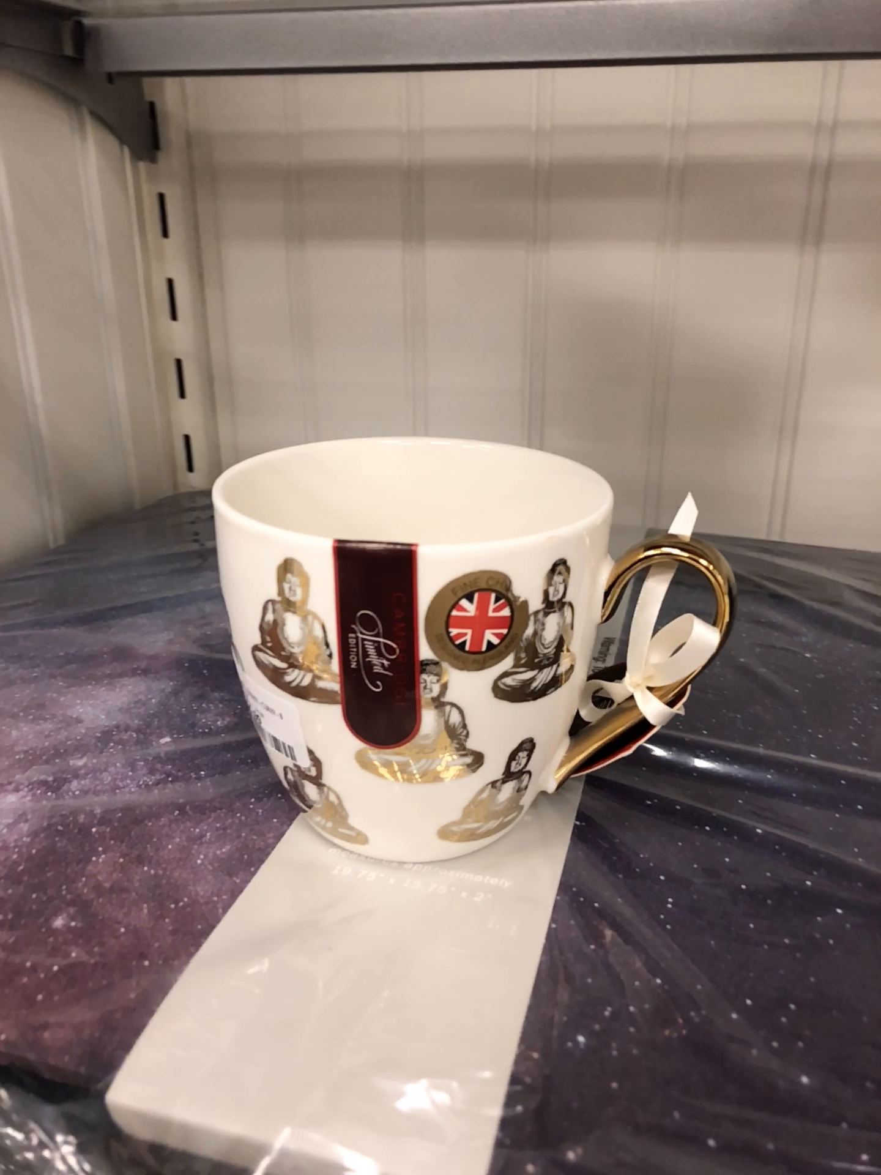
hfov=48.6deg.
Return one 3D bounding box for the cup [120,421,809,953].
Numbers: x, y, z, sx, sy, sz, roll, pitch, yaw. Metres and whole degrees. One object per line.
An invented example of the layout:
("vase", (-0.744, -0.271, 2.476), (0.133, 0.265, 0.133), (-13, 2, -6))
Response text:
("cup", (0.010, 0.015, 0.254), (0.137, 0.089, 0.101), (4, 23, 10))
